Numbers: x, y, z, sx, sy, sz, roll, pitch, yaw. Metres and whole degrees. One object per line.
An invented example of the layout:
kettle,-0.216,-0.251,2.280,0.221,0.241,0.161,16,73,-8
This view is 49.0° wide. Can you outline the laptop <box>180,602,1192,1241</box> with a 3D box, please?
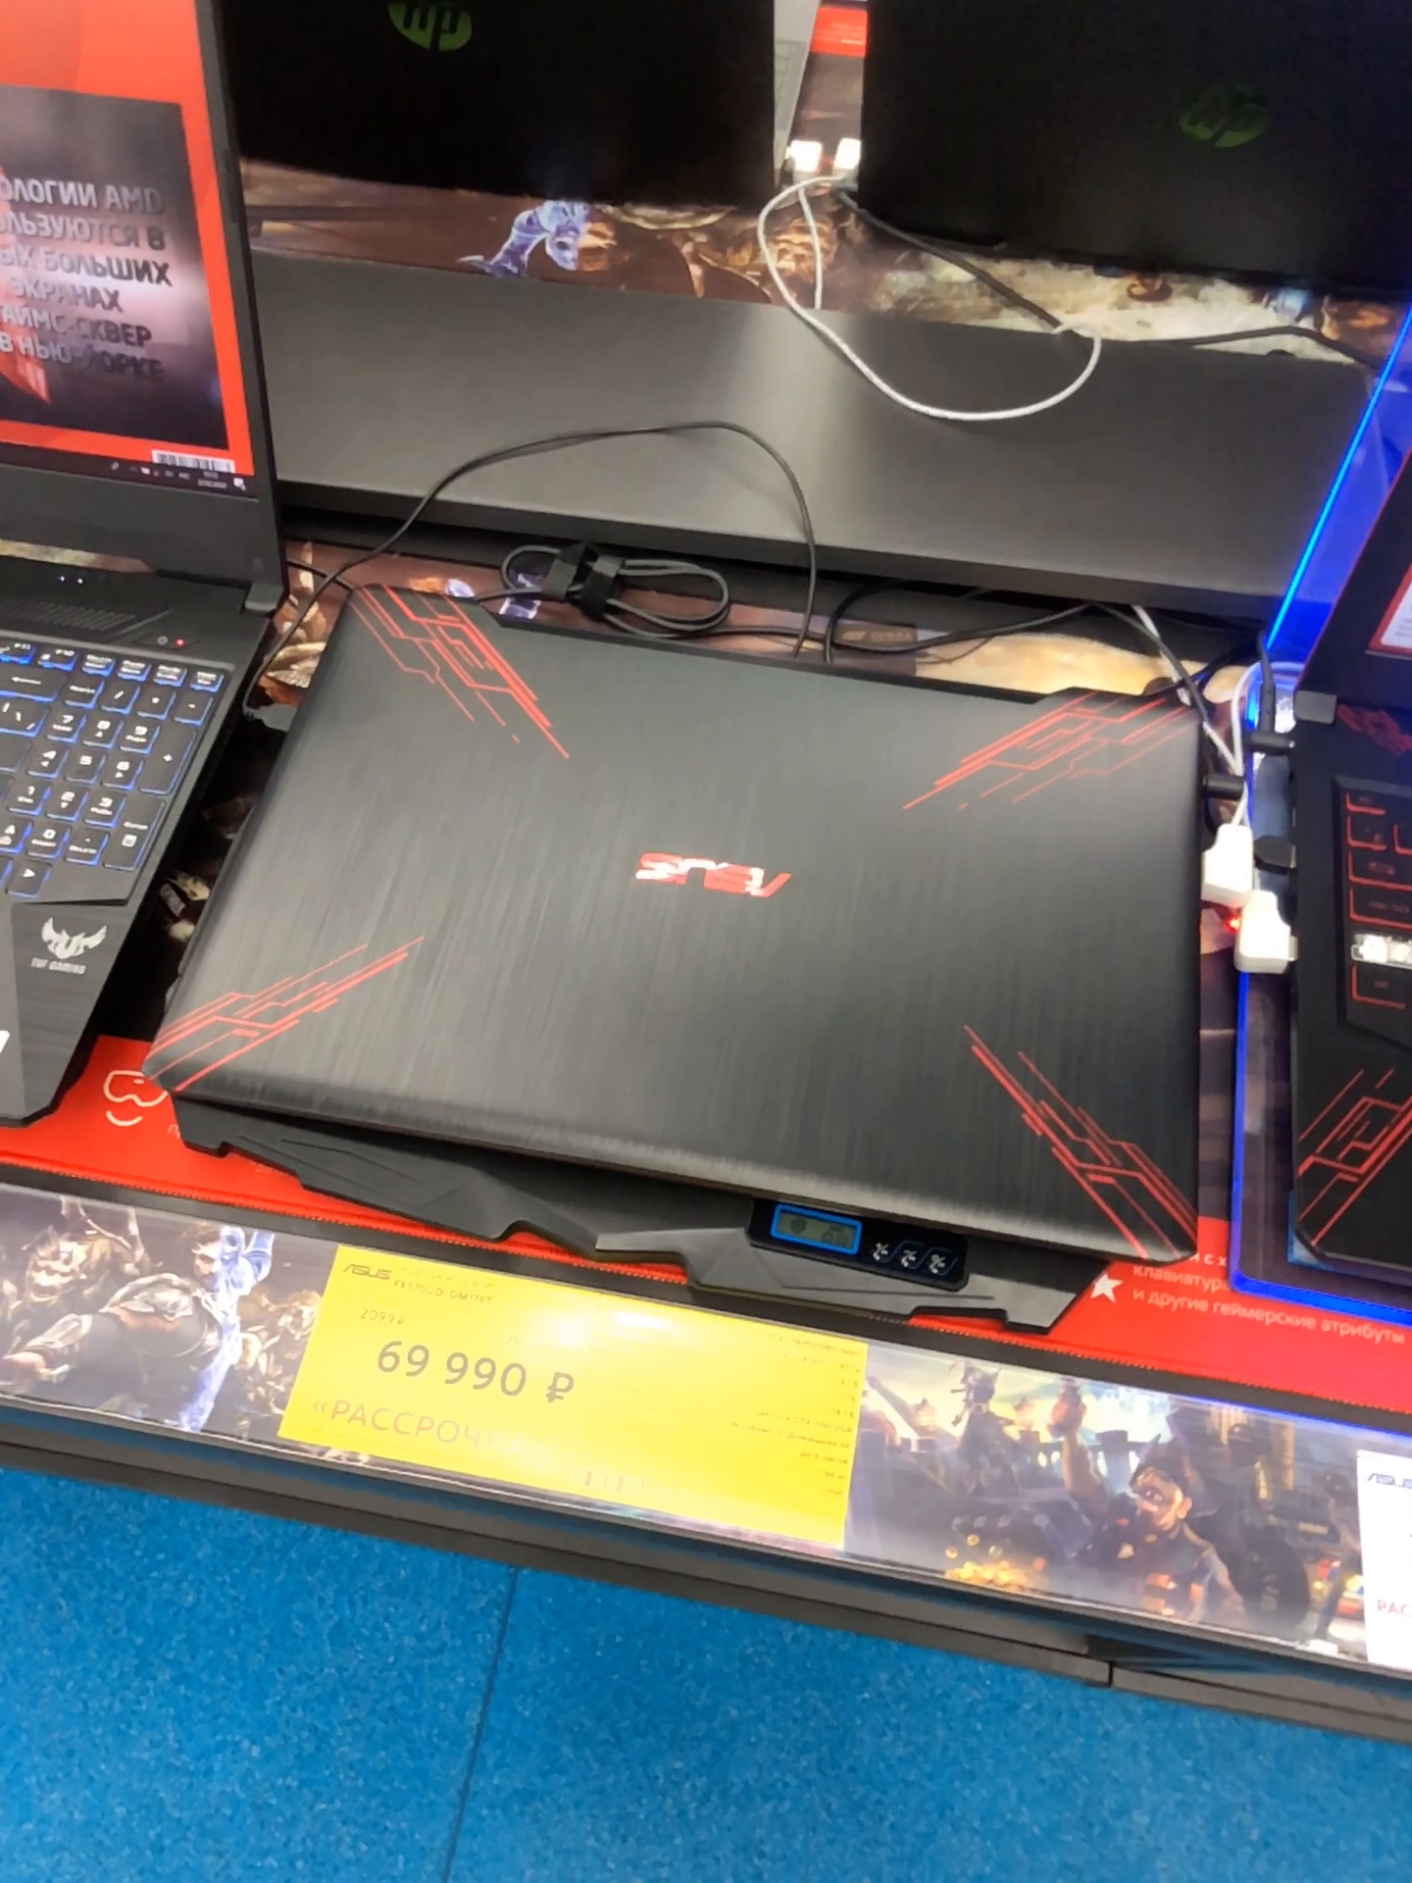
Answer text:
laptop,0.008,-0.025,0.611,0.358,0.003,0.240,9,56,6
